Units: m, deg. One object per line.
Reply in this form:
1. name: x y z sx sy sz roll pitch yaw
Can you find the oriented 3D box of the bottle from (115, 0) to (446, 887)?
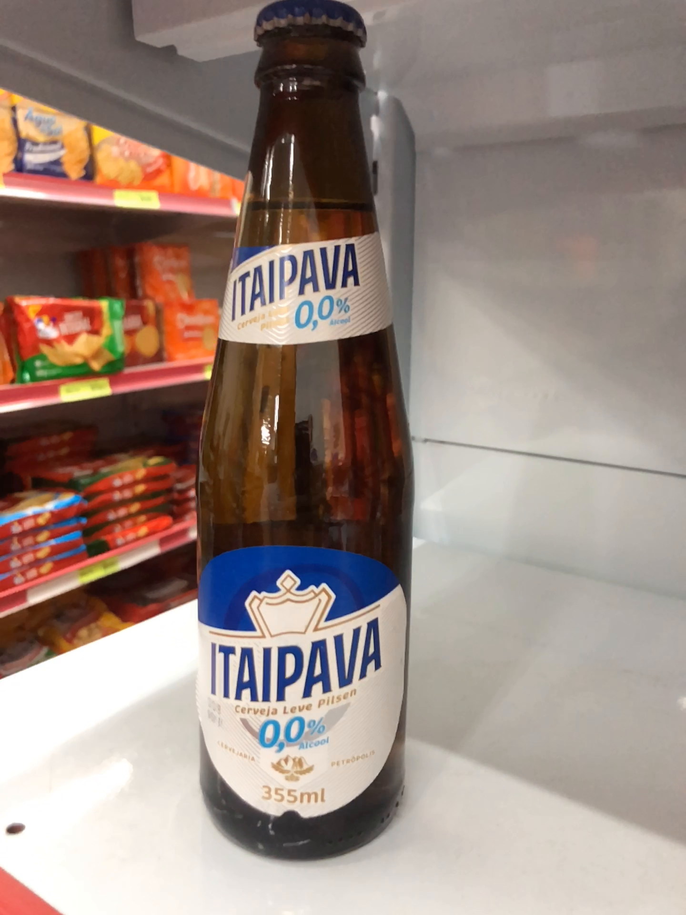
1. bottle: -0.008 -0.010 0.188 0.060 0.209 0.060 0 12 0
